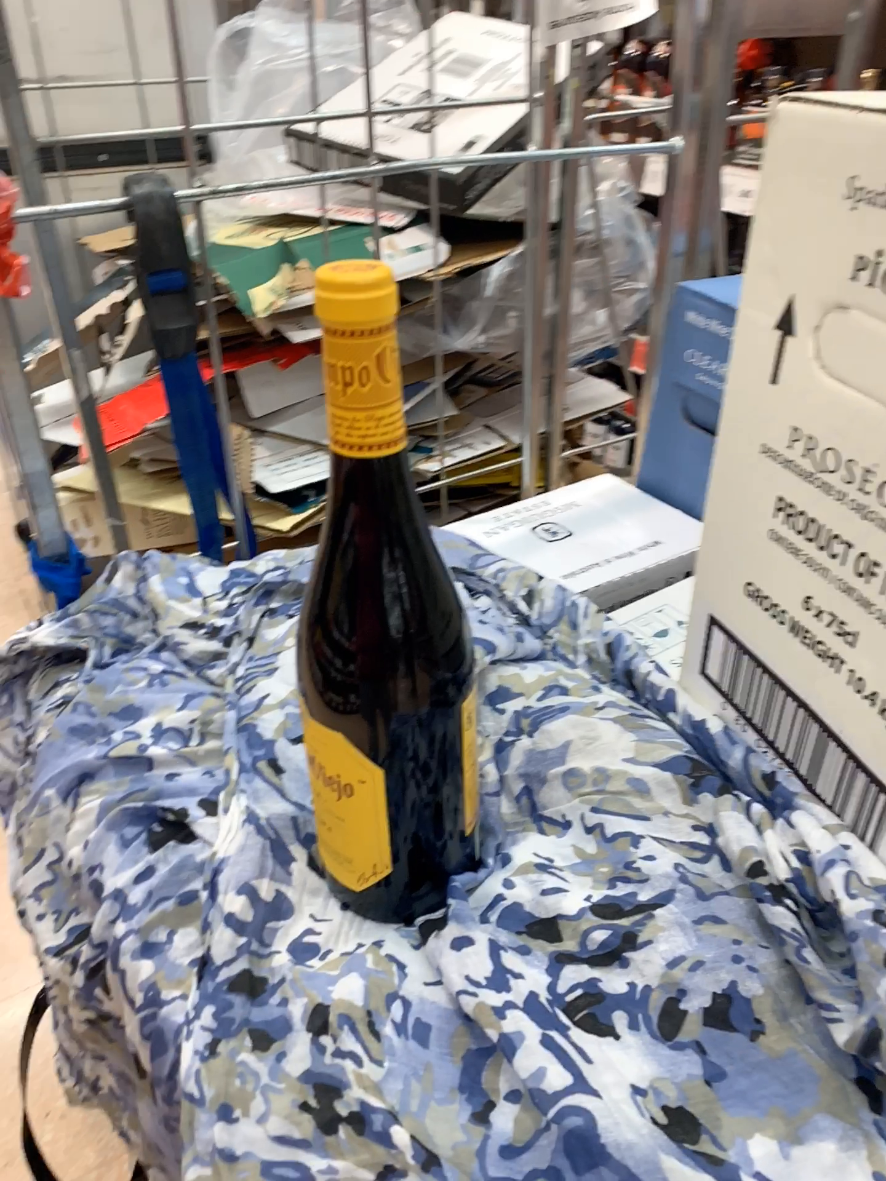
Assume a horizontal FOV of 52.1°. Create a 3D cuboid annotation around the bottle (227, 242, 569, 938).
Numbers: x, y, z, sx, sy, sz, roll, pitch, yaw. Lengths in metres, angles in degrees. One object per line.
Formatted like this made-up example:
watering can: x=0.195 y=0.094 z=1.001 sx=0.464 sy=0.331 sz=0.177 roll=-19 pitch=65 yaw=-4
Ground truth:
bottle: x=-0.020 y=0.008 z=0.382 sx=0.090 sy=0.270 sz=0.091 roll=0 pitch=32 yaw=0
